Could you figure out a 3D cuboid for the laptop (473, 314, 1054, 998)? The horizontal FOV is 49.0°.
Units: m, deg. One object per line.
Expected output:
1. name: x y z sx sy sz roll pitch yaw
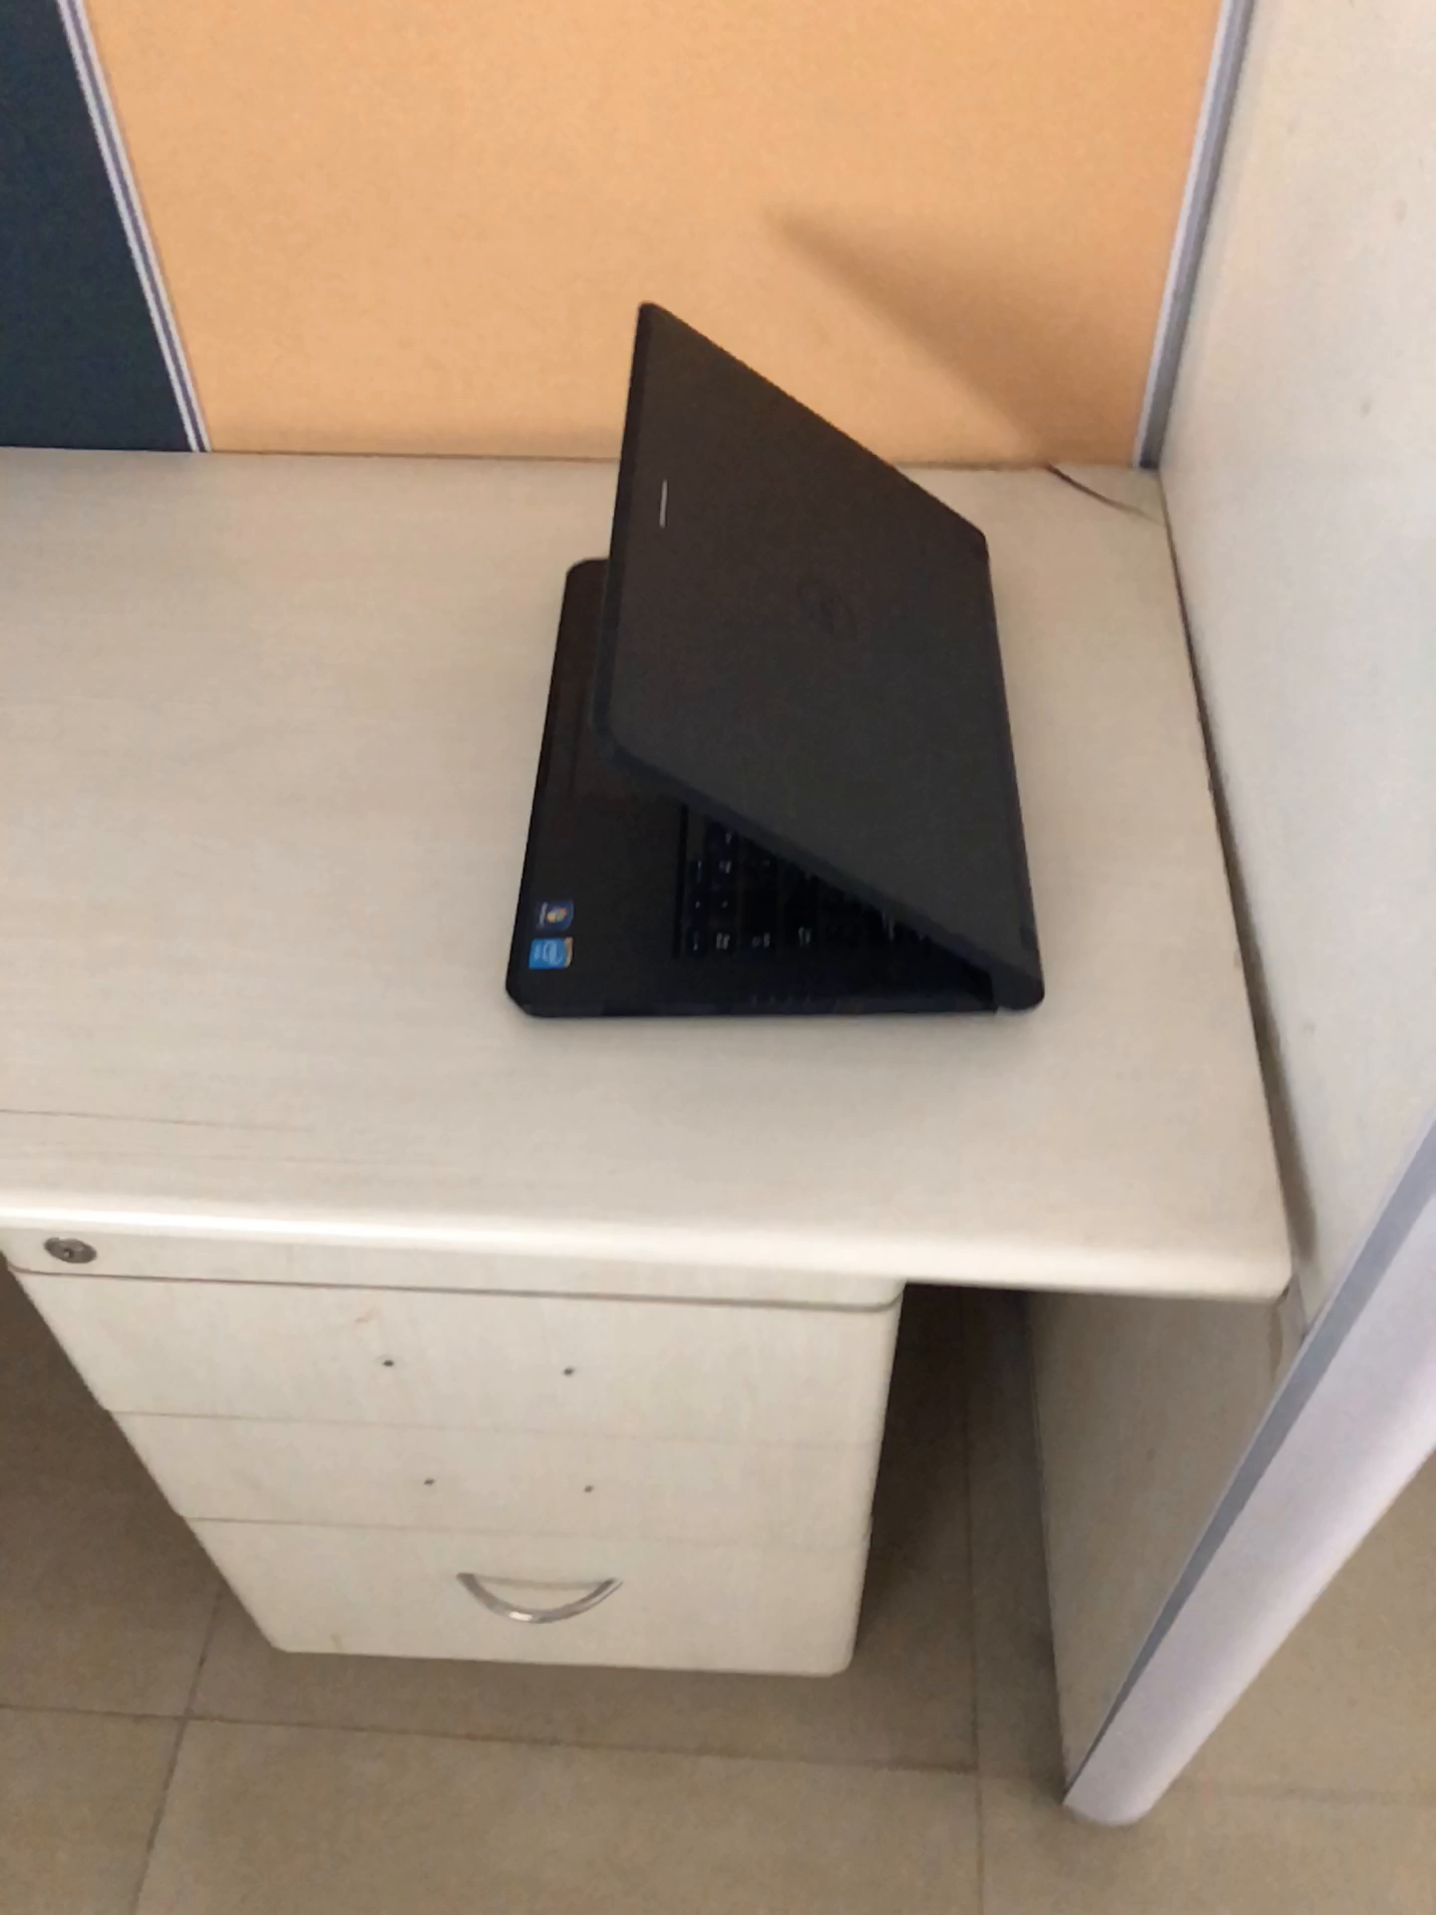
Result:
1. laptop: 0.023 -0.153 0.748 0.215 0.154 0.320 1 49 2
